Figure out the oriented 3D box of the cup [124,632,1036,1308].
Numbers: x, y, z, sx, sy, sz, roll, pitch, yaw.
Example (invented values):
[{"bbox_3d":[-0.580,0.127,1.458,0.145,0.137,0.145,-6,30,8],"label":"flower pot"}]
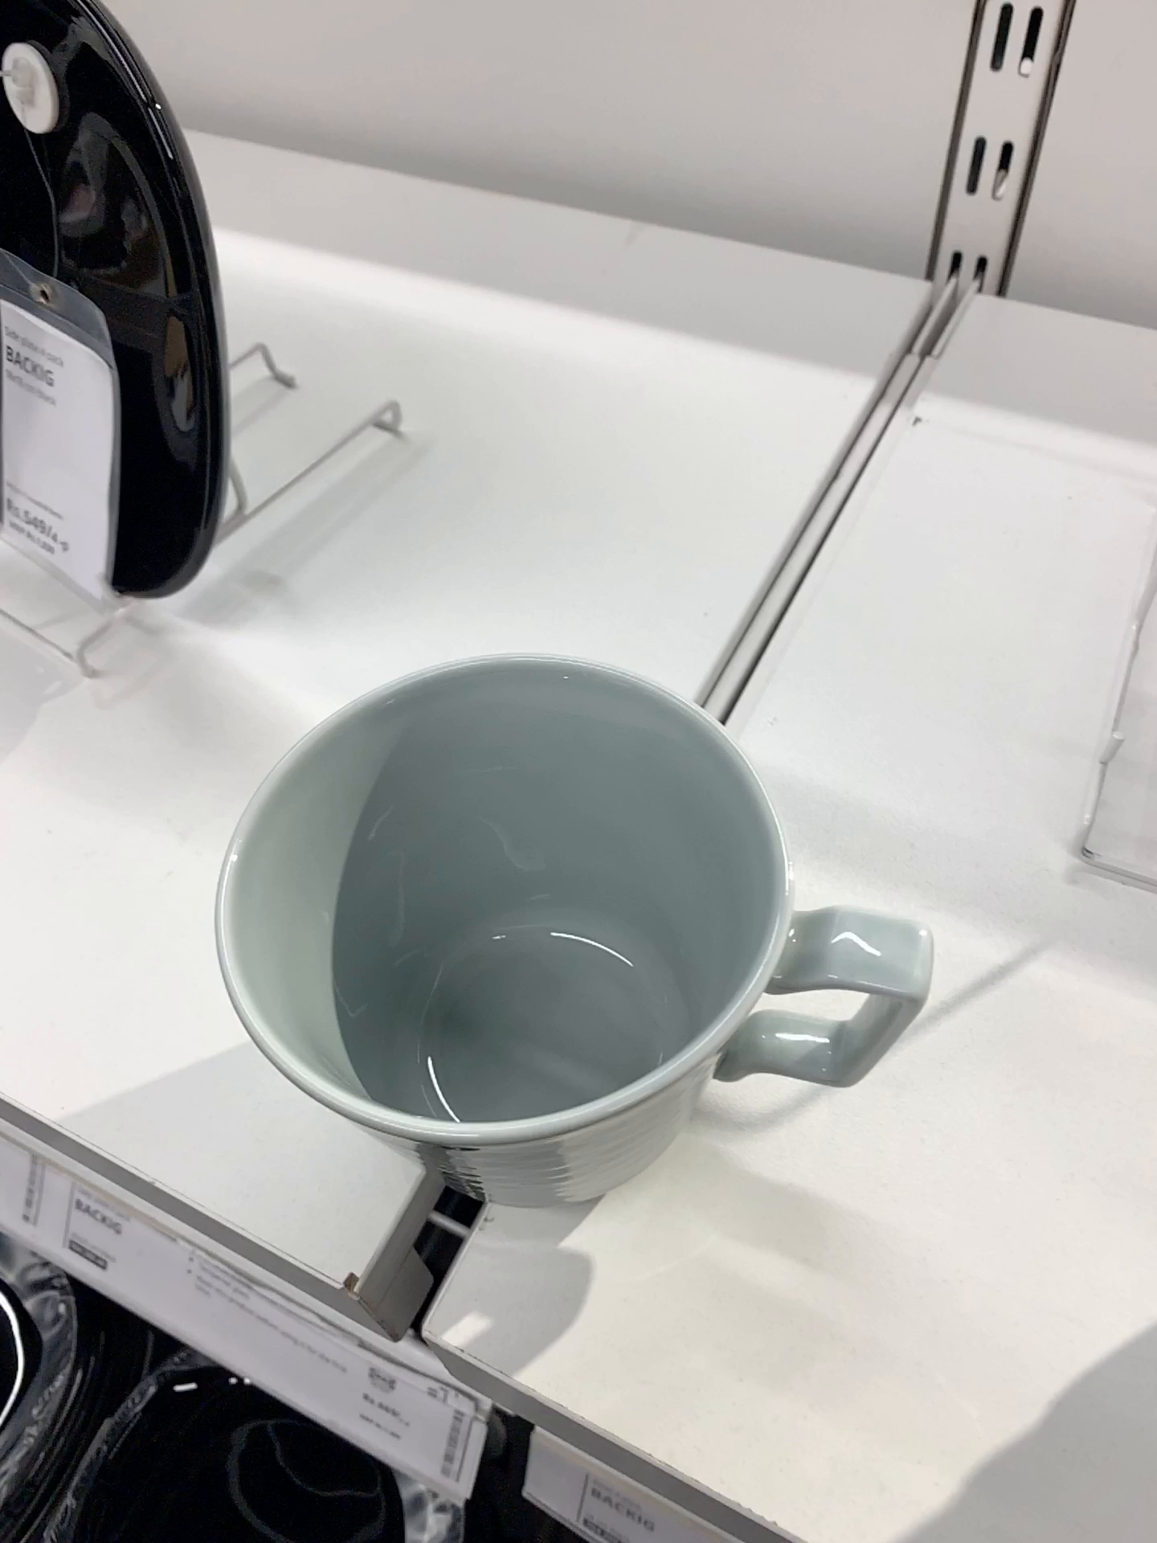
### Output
[{"bbox_3d":[0.000,0.037,0.229,0.130,0.070,0.100,-3,52,1],"label":"cup"}]
